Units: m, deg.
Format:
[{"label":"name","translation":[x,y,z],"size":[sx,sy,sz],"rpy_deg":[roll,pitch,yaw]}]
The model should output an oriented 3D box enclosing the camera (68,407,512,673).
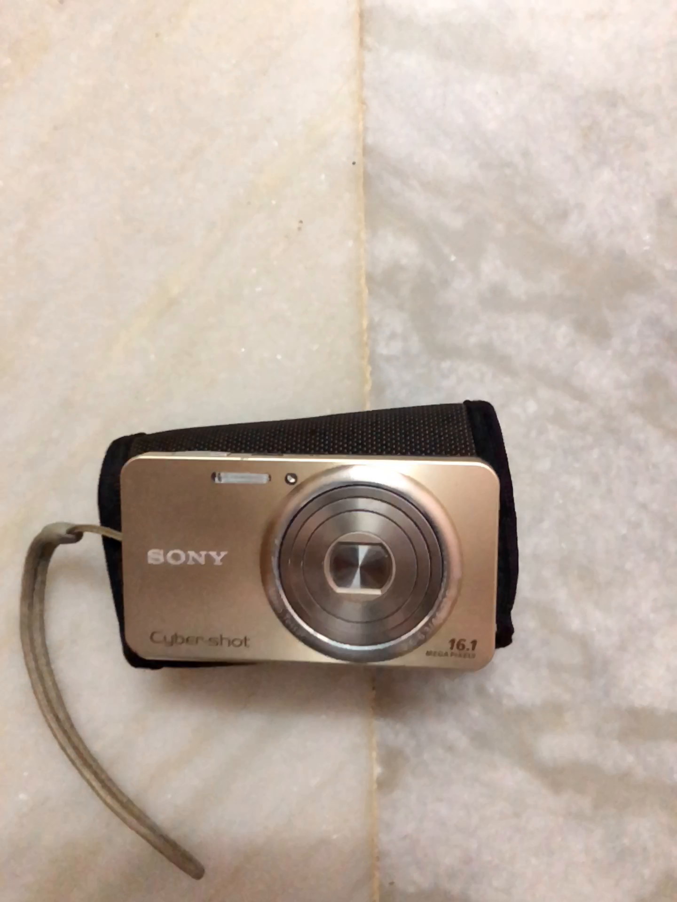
[{"label":"camera","translation":[-0.011,0.020,0.182],"size":[0.100,0.020,0.060],"rpy_deg":[0,95,3]}]
